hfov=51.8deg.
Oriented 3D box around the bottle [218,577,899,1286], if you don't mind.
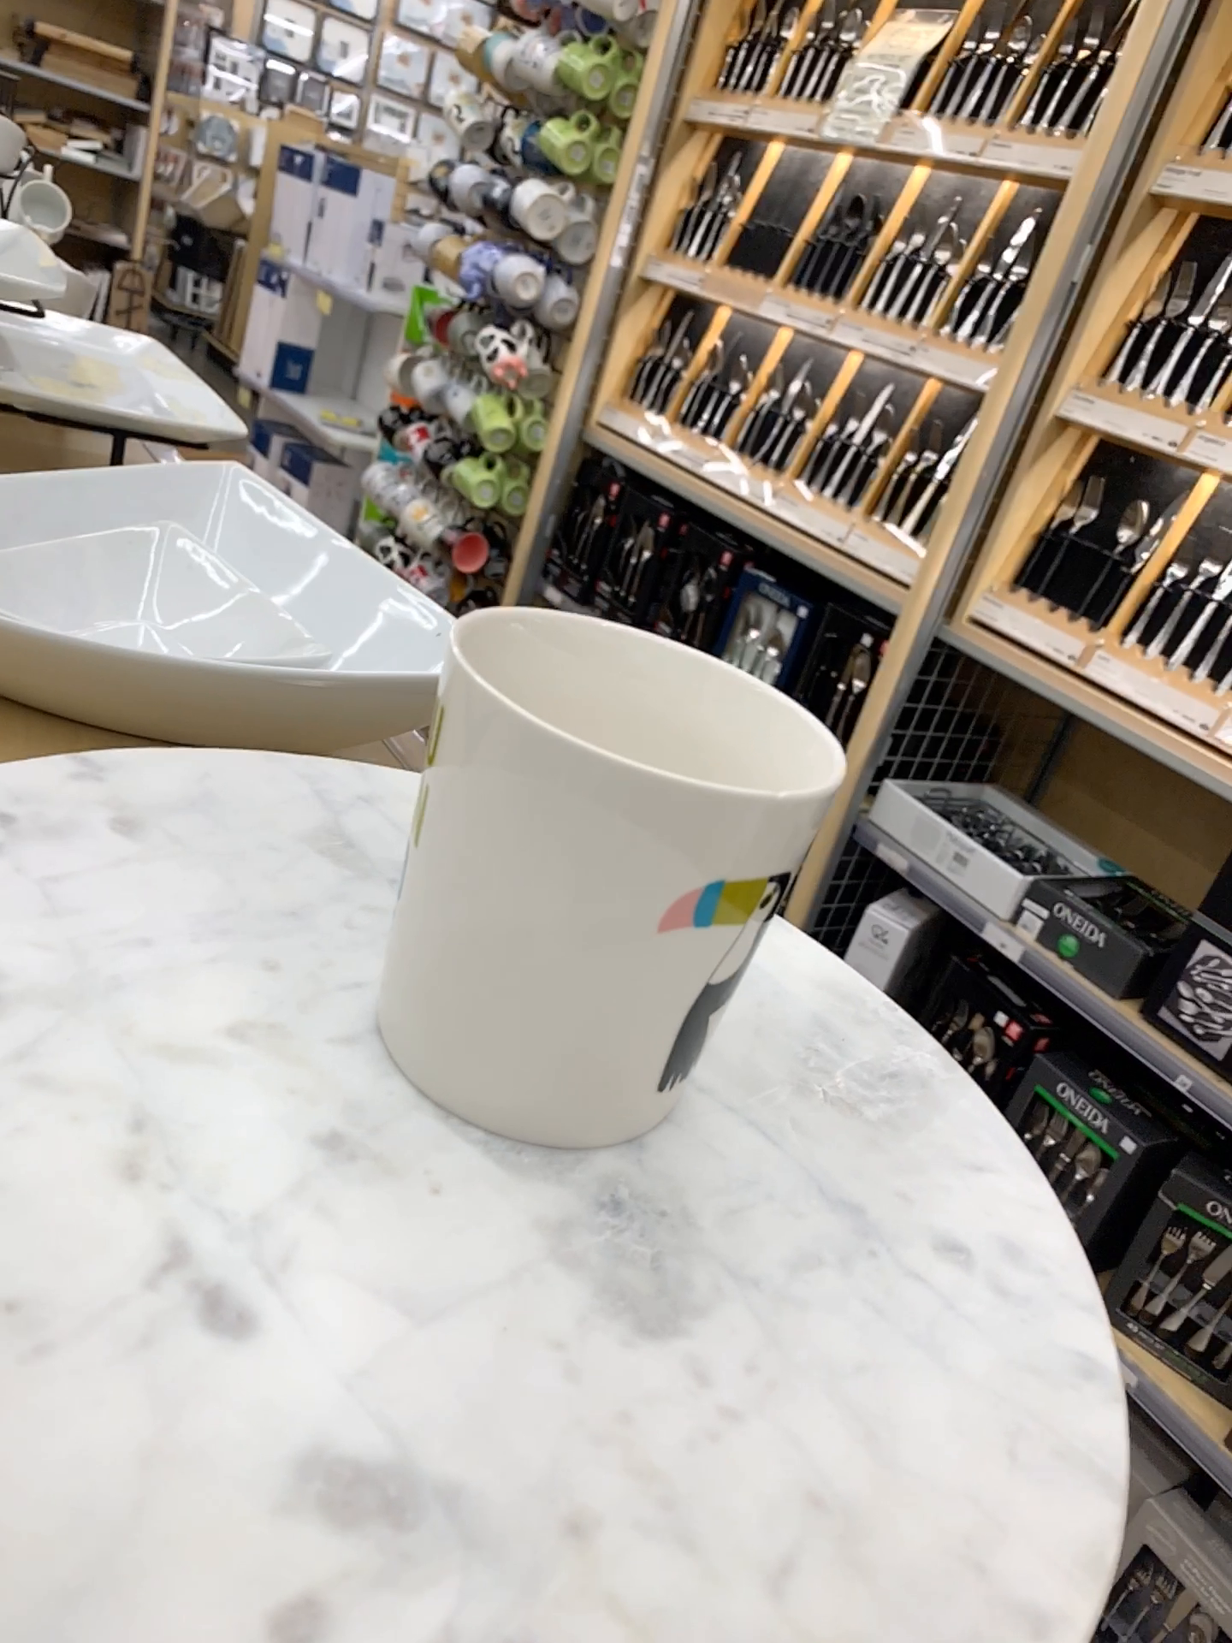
[{"bbox_3d":[-0.006,0.013,0.330,0.104,0.107,0.143,24,23,13],"label":"bottle"}]
